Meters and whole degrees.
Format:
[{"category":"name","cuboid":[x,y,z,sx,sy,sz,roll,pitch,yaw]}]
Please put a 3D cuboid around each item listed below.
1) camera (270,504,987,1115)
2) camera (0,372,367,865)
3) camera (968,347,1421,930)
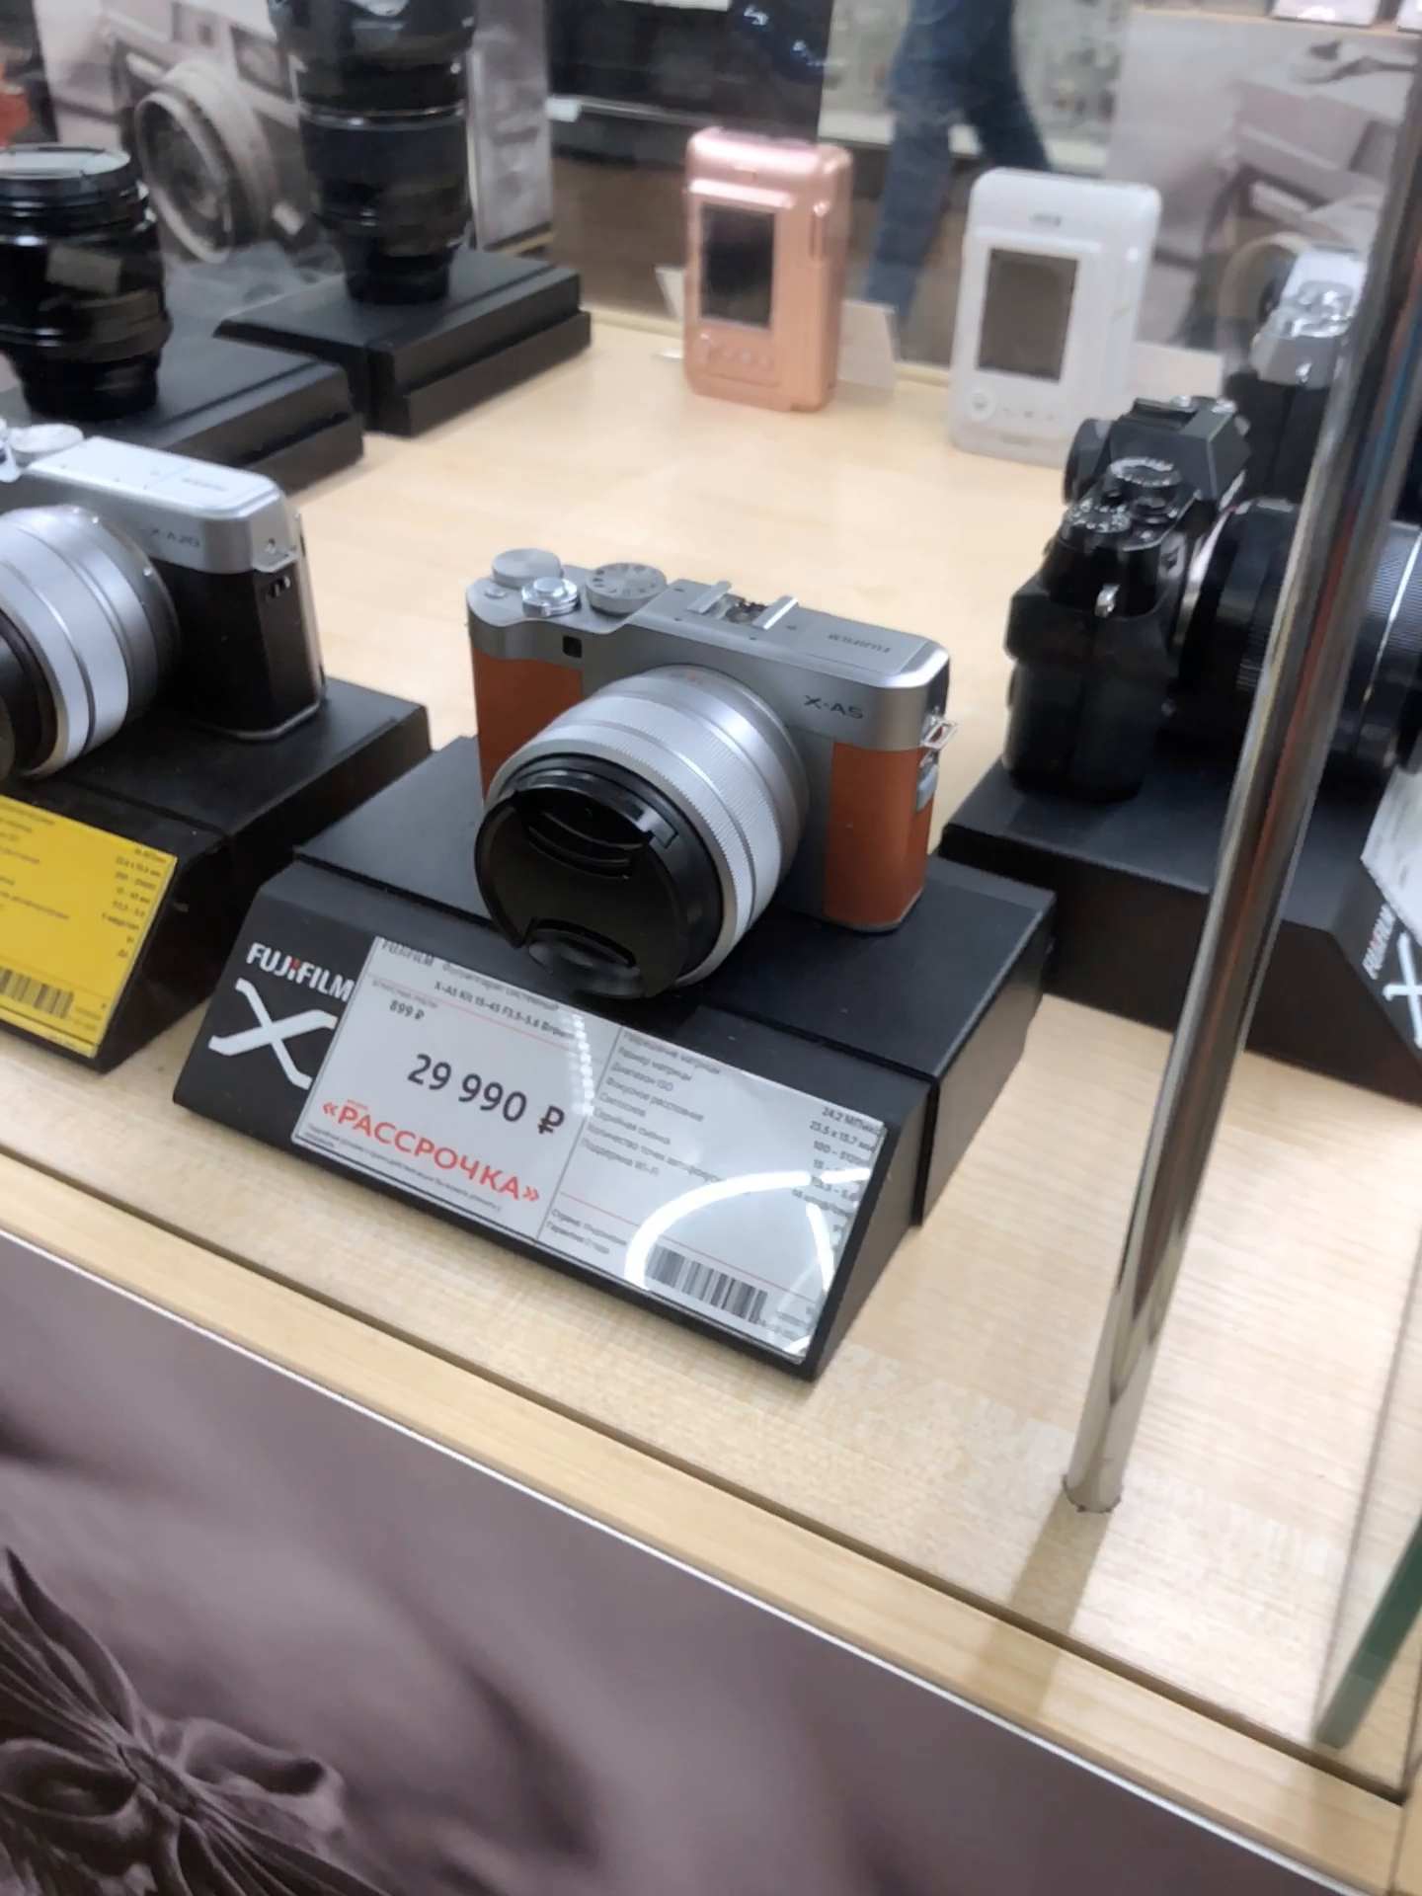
[{"category":"camera","cuboid":[-0.016,-0.038,0.355,0.121,0.075,0.093,18,39,21]},{"category":"camera","cuboid":[-0.171,-0.091,0.413,0.121,0.075,0.093,18,39,21]},{"category":"camera","cuboid":[0.150,-0.091,0.425,0.112,0.090,0.131,18,39,21]}]
